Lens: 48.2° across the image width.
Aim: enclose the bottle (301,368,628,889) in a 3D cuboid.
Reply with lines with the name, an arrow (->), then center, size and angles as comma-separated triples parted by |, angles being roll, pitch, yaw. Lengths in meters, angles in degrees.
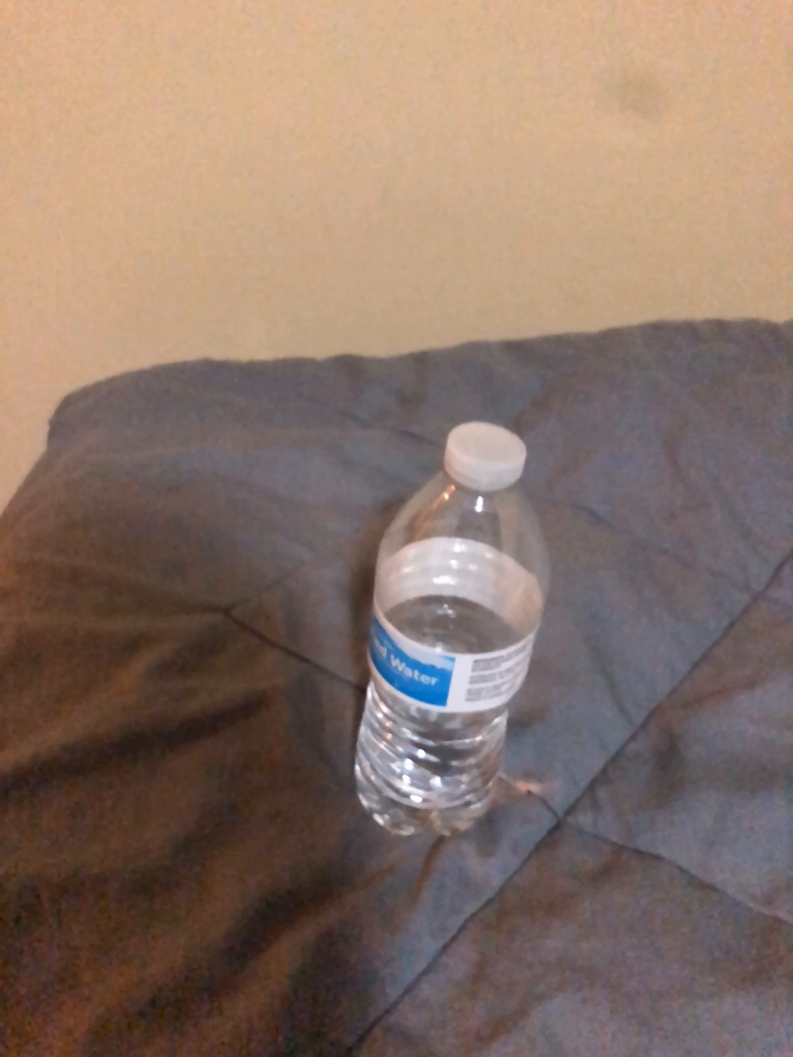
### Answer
bottle -> 0.016, 0.044, 0.363 | 0.080, 0.189, 0.080 | 3, 37, -3
